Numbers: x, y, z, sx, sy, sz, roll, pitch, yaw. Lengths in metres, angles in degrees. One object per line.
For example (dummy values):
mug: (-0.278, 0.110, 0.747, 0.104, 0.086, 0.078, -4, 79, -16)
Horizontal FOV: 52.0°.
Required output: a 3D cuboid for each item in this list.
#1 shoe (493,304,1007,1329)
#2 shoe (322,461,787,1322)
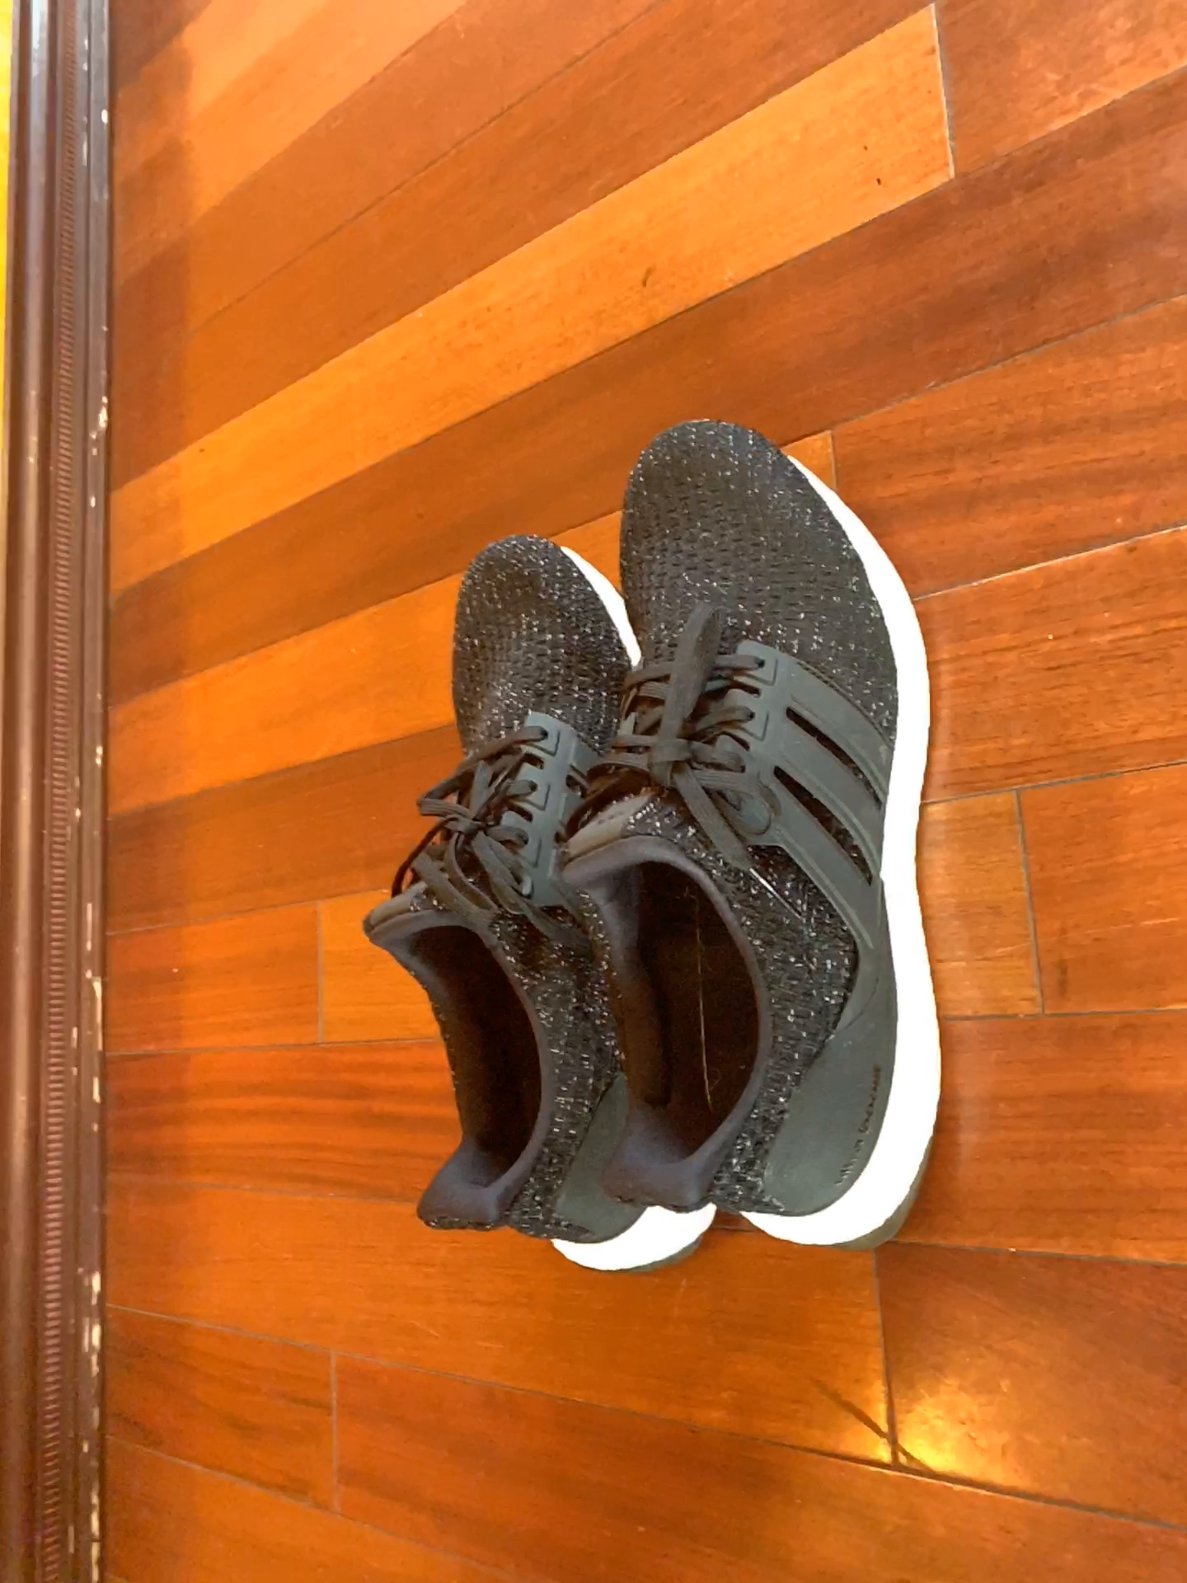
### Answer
shoe: (0.048, 0.010, 0.412, 0.111, 0.099, 0.290, -12, 77, 39)
shoe: (-0.022, 0.041, 0.488, 0.111, 0.099, 0.300, -19, 73, 37)
